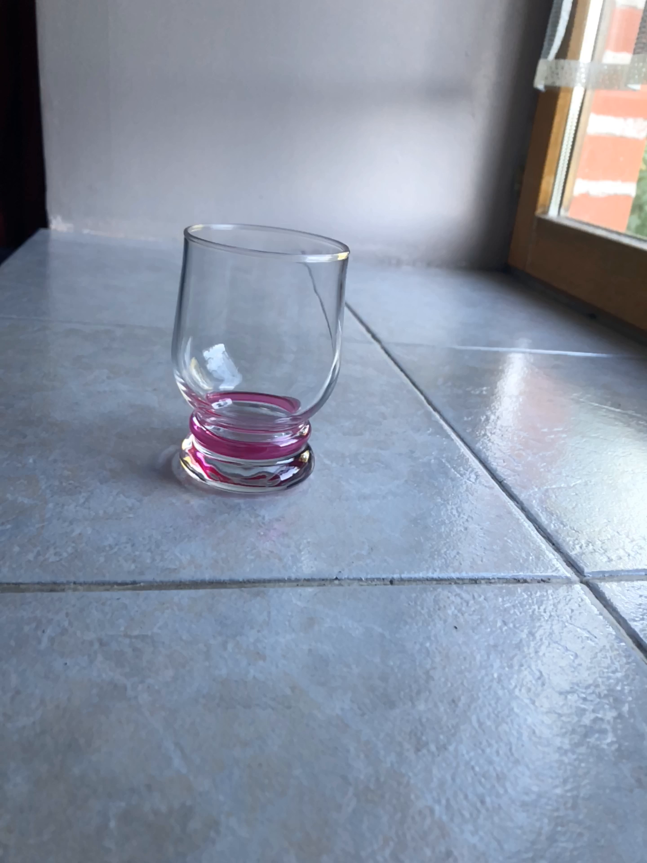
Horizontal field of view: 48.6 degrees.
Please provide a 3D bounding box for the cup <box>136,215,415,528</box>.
[{"bbox_3d":[-0.024,-0.032,0.307,0.079,0.102,0.079,6,24,-2],"label":"cup"}]
